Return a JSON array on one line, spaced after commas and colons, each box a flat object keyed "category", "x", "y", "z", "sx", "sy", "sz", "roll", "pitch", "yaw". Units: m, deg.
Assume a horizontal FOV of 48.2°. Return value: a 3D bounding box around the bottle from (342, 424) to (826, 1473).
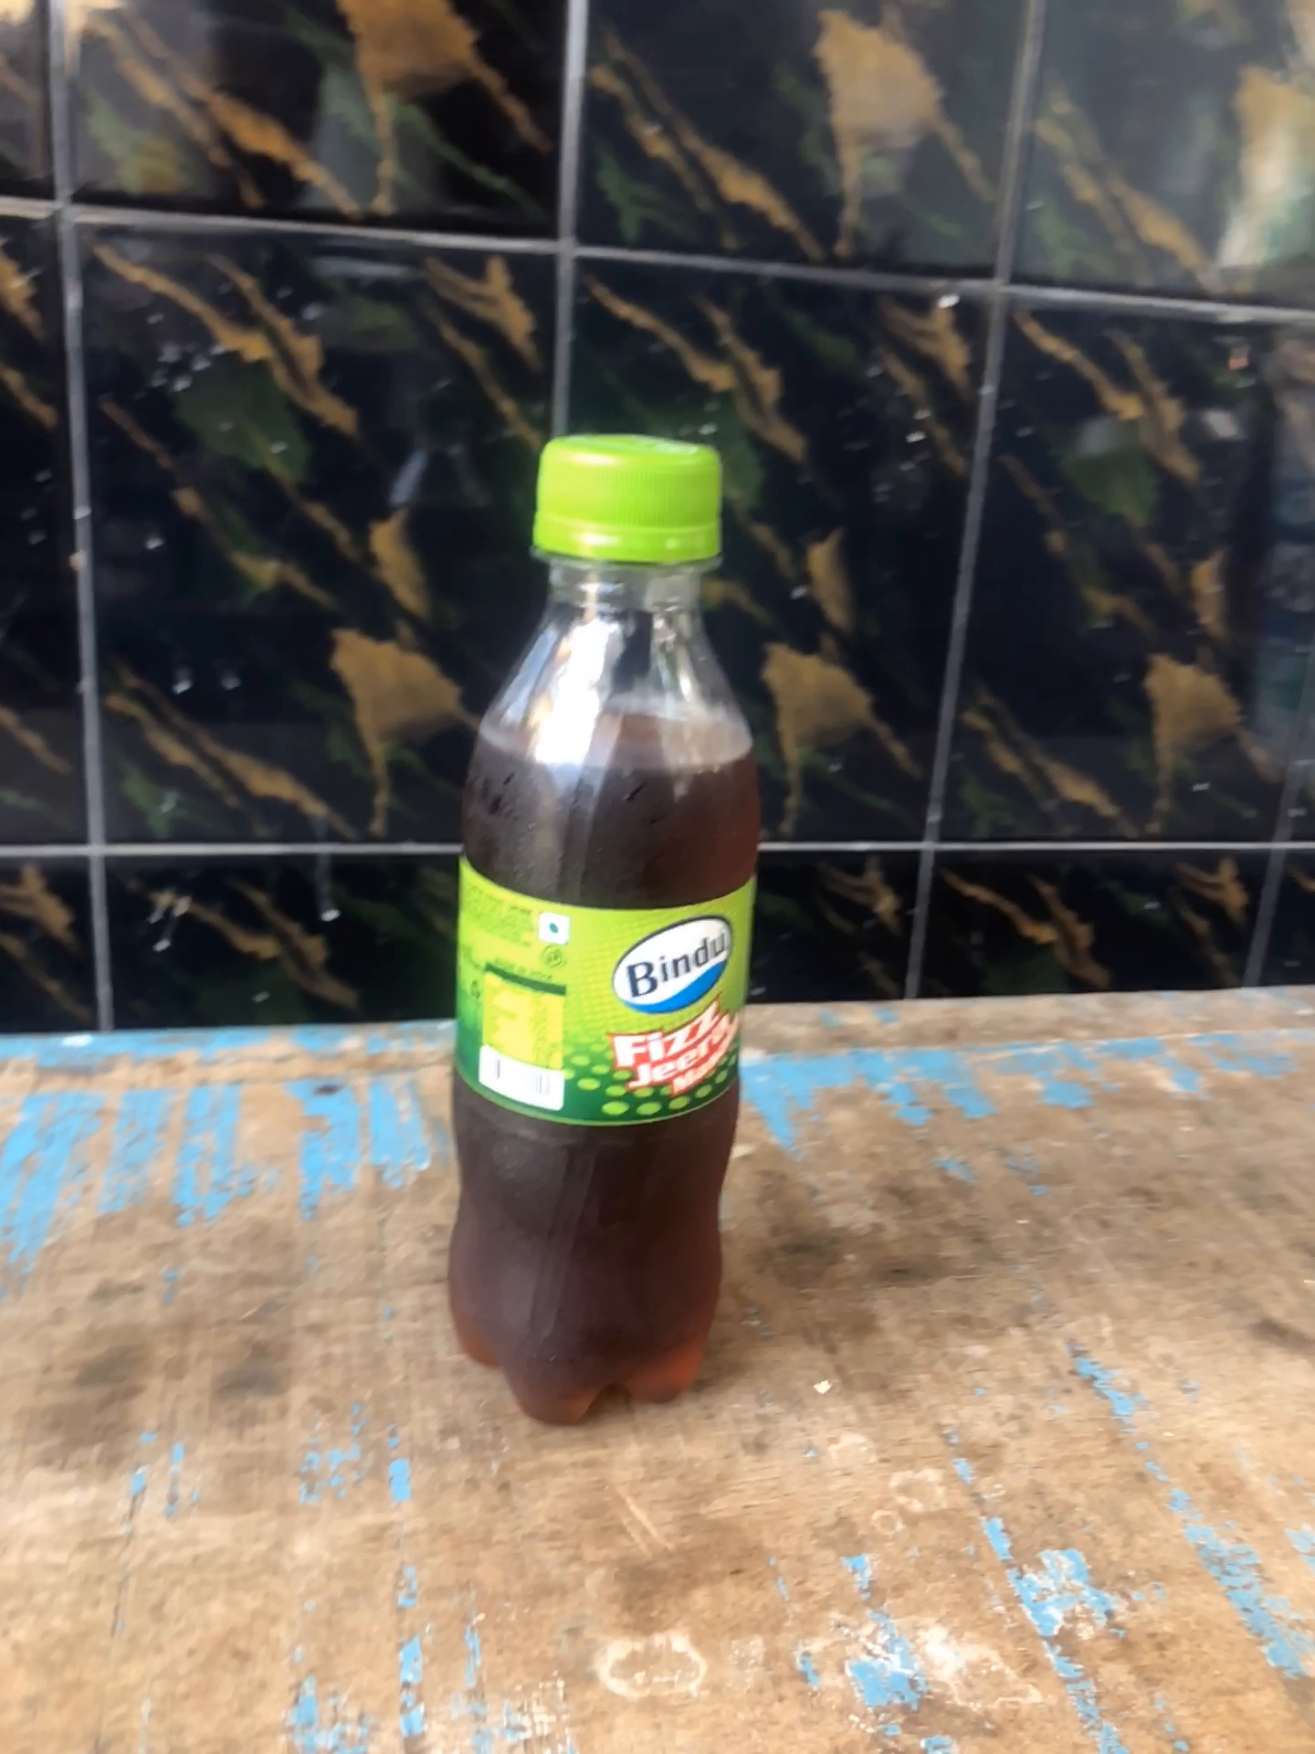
[{"category": "bottle", "x": -0.019, "y": 0.011, "z": 0.279, "sx": 0.060, "sy": 0.179, "sz": 0.060, "roll": 3, "pitch": 19, "yaw": -1}]
